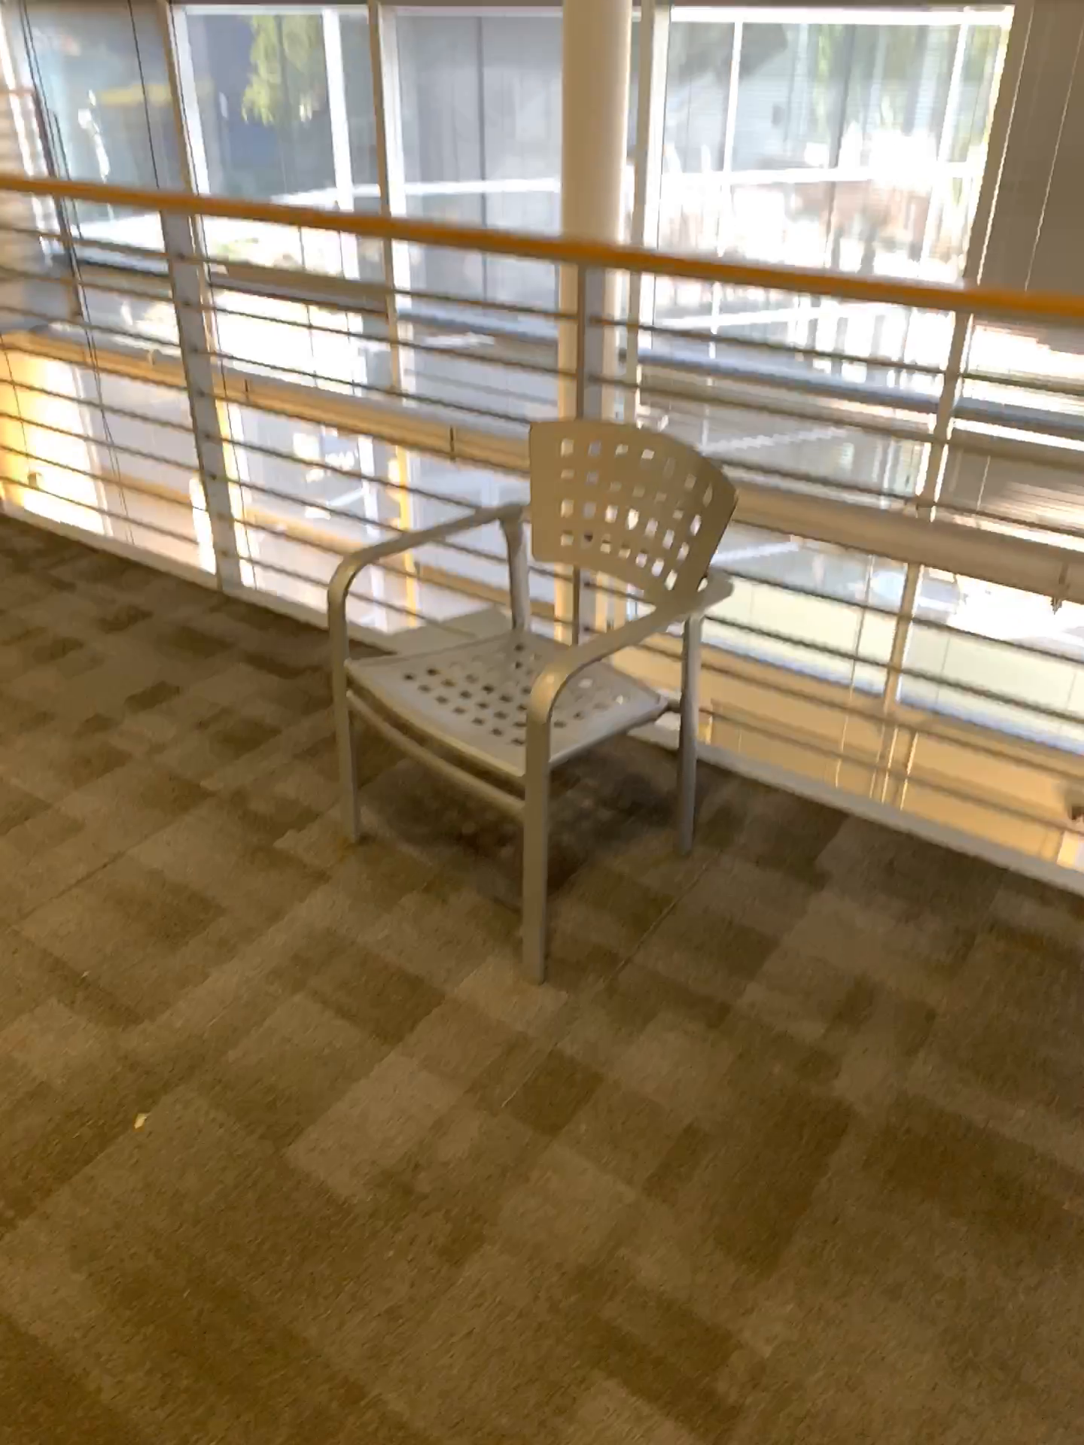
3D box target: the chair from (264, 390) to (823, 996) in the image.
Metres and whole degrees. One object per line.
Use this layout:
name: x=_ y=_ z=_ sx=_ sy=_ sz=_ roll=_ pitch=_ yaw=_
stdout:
chair: x=0.001 y=-0.112 z=2.102 sx=0.683 sy=0.755 sz=0.681 roll=27 pitch=41 yaw=35
